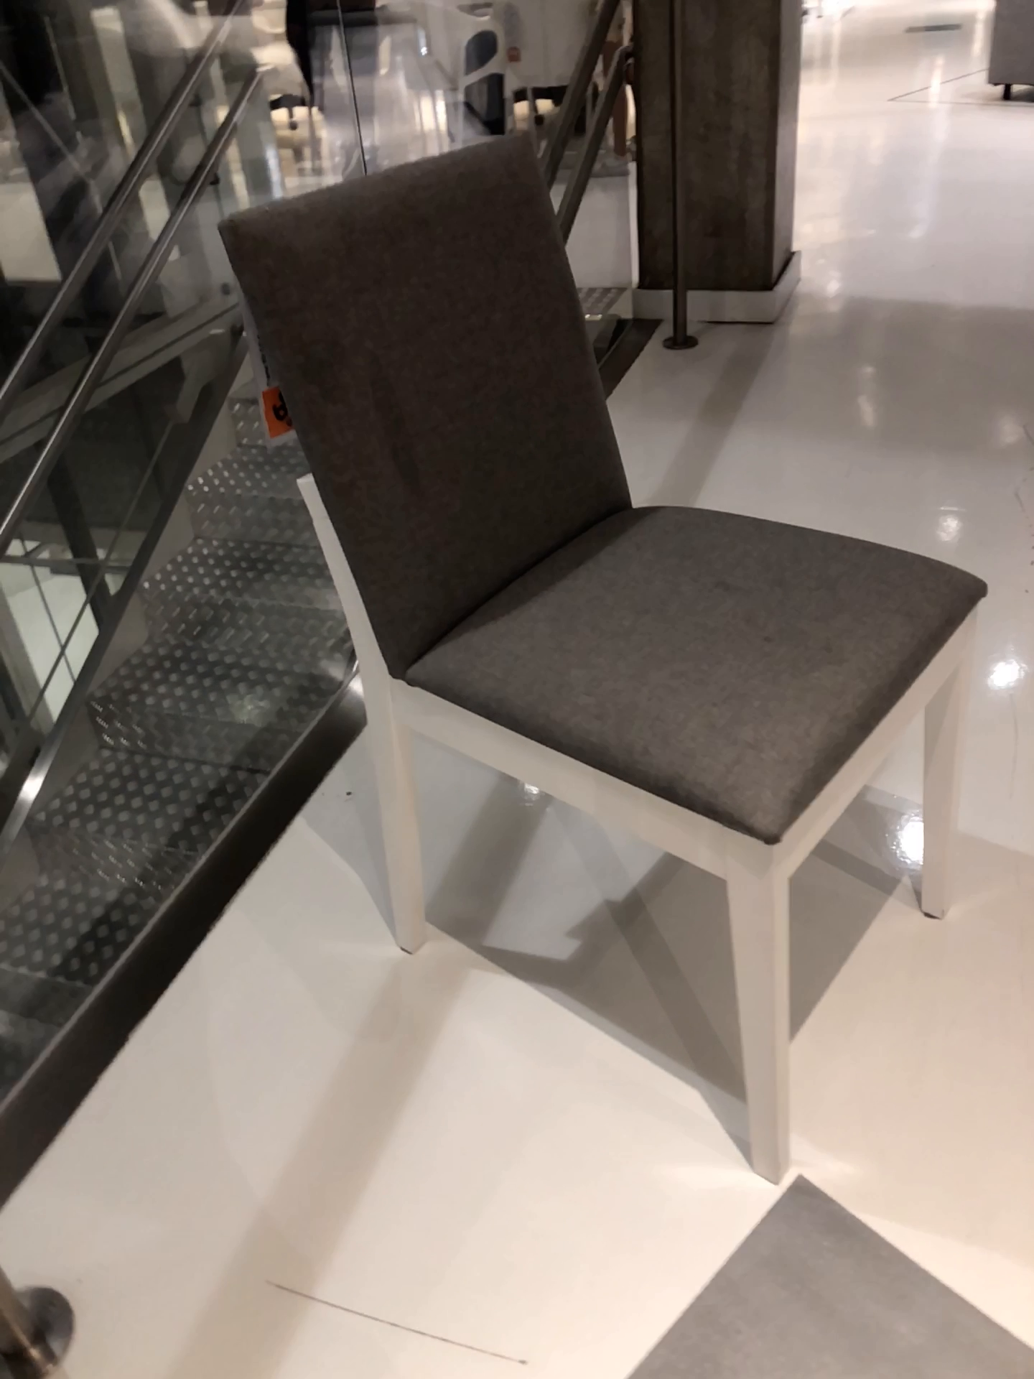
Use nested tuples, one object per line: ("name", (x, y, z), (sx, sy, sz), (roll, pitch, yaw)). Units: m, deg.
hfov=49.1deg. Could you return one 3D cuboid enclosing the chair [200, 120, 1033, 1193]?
("chair", (0.144, -0.068, 1.156), (0.562, 0.844, 0.482), (21, 42, 34))
